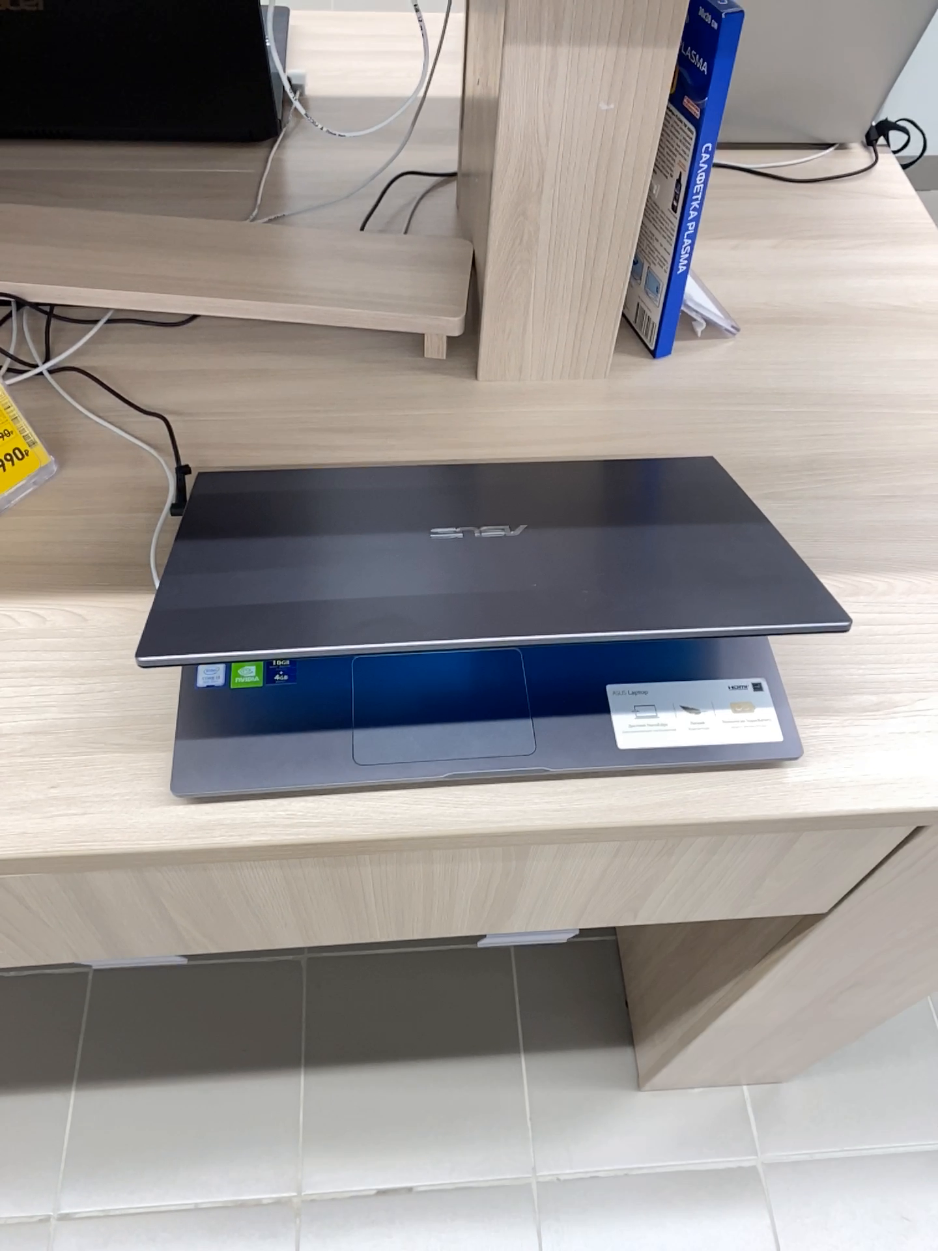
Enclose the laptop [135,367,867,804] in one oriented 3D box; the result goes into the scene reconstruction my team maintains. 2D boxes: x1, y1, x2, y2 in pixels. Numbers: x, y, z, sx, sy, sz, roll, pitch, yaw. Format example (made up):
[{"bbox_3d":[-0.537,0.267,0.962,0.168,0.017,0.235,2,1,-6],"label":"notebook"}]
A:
[{"bbox_3d":[0.008,-0.035,0.559,0.352,0.088,0.236,-3,55,-6],"label":"laptop"}]
